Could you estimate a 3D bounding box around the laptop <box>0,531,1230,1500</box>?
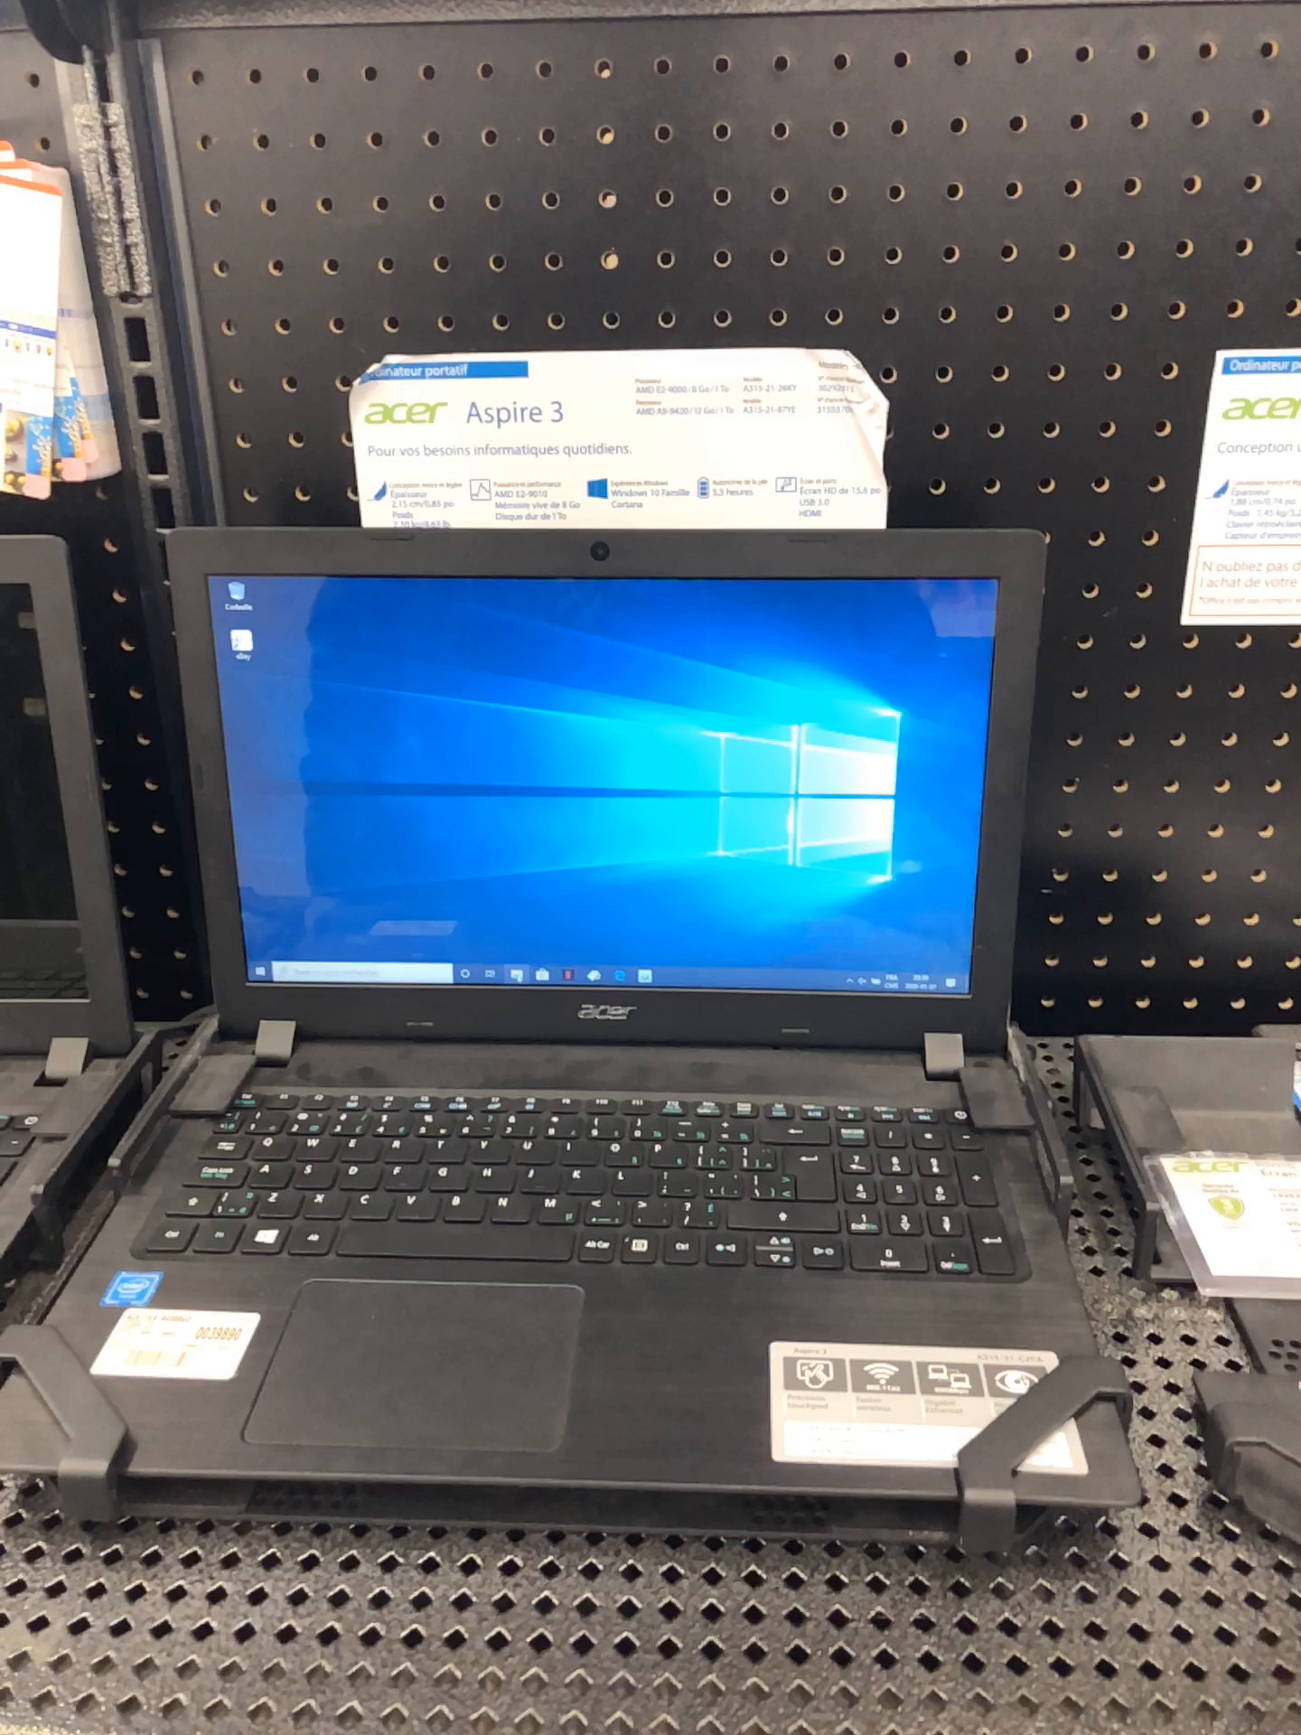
[{"bbox_3d":[-0.033,0.025,0.555,0.386,0.247,0.296,0,24,4],"label":"laptop"}]
